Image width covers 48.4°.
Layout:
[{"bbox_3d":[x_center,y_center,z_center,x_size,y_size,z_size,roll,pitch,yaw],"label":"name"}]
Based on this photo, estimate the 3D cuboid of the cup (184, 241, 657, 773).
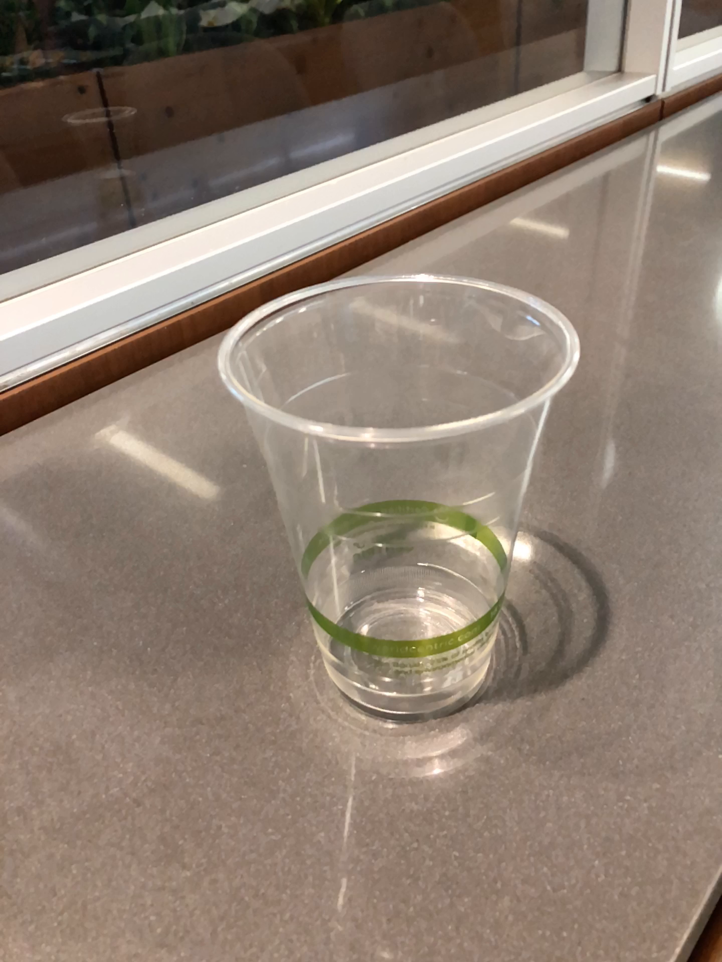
[{"bbox_3d":[0.012,0.002,0.253,0.100,0.109,0.101,-3,34,2],"label":"cup"}]
